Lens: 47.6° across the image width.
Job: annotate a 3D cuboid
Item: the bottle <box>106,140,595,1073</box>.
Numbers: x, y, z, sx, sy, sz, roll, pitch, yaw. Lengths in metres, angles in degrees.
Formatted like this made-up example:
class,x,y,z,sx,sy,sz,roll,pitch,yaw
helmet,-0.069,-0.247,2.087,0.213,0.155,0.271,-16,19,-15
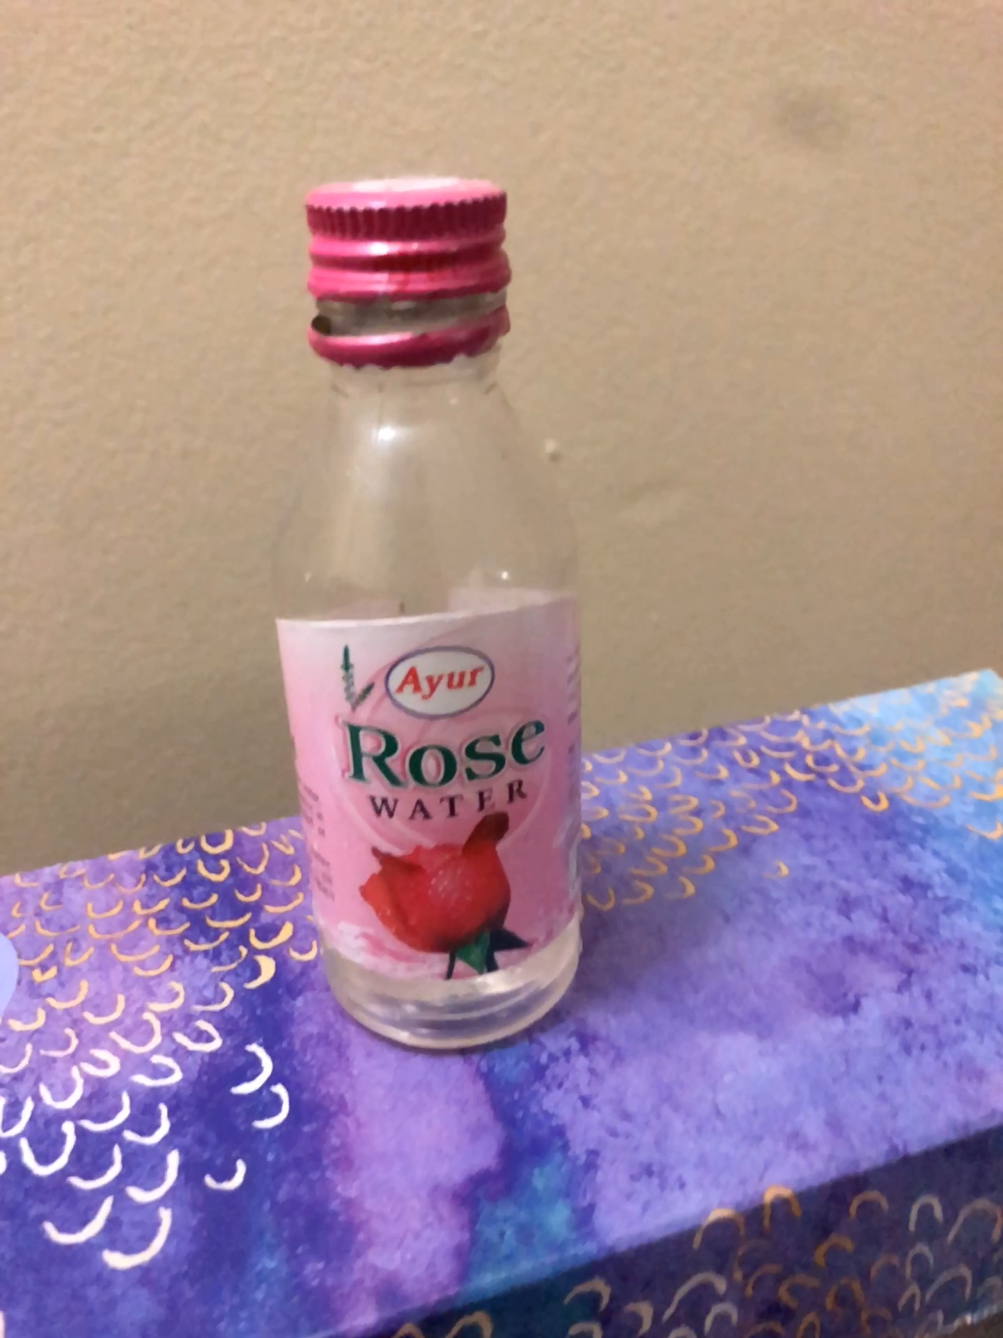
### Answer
class,x,y,z,sx,sy,sz,roll,pitch,yaw
bottle,-0.011,-0.006,0.134,0.040,0.100,0.040,-2,26,1
